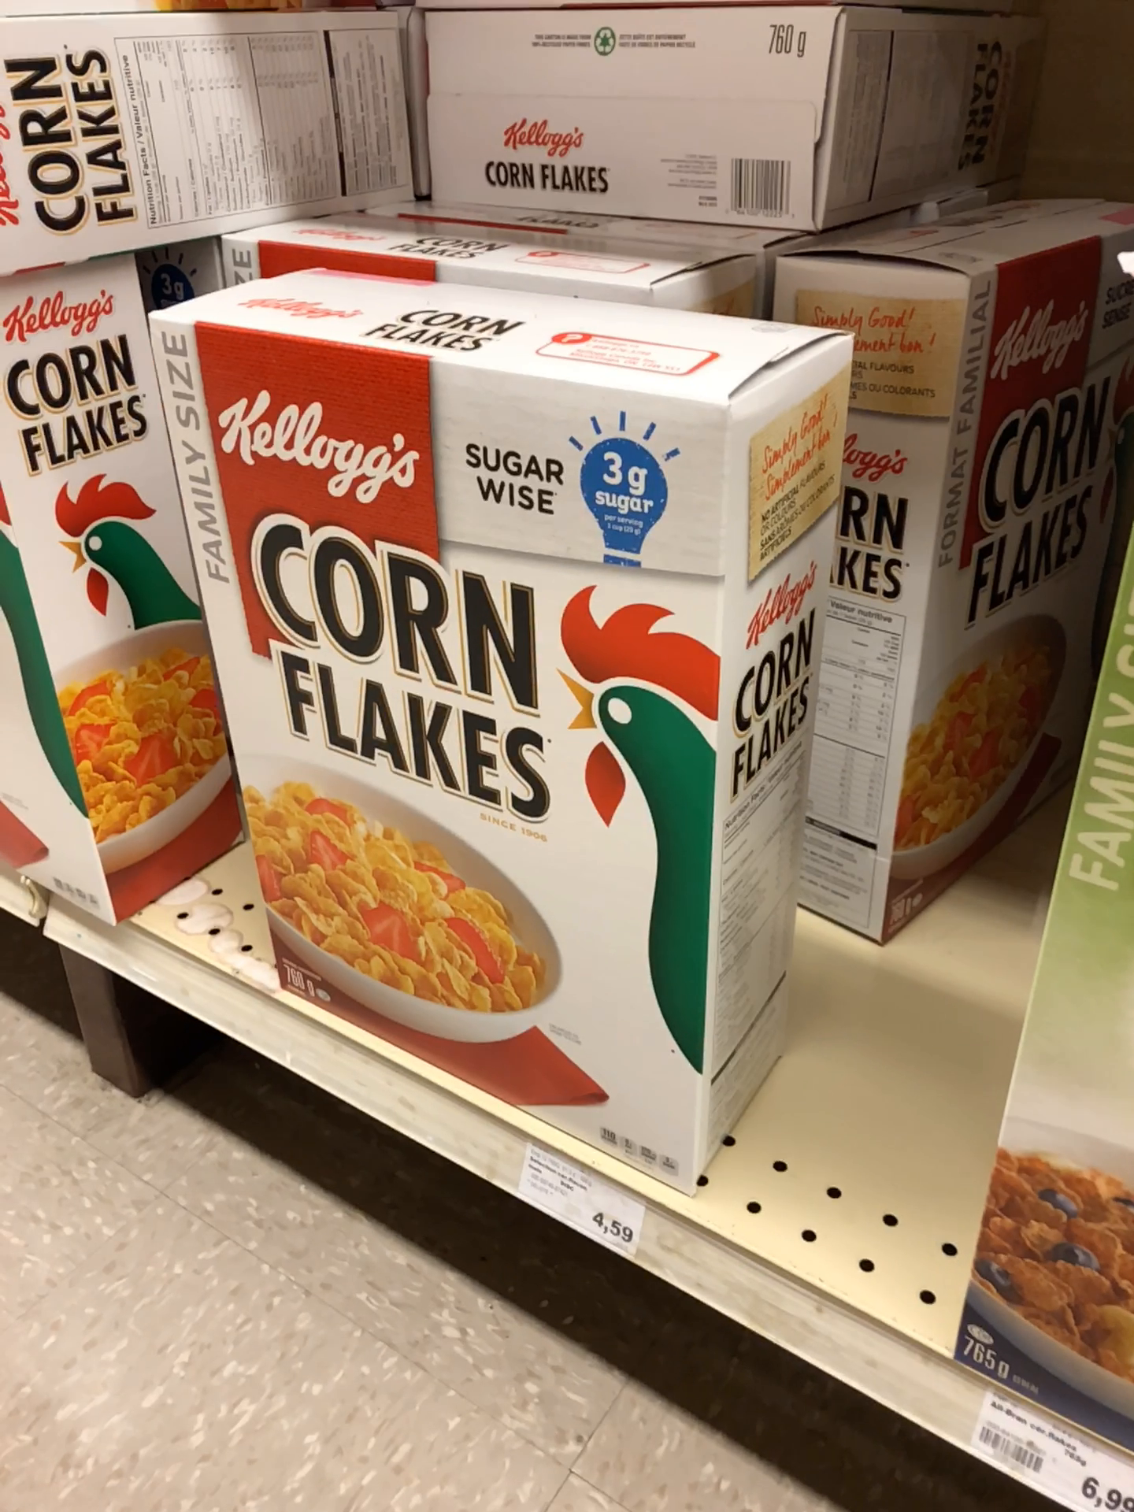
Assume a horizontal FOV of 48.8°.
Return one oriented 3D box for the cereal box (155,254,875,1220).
[{"bbox_3d":[-0.026,-0.010,0.583,0.271,0.387,0.101,17,35,27],"label":"cereal box"}]
